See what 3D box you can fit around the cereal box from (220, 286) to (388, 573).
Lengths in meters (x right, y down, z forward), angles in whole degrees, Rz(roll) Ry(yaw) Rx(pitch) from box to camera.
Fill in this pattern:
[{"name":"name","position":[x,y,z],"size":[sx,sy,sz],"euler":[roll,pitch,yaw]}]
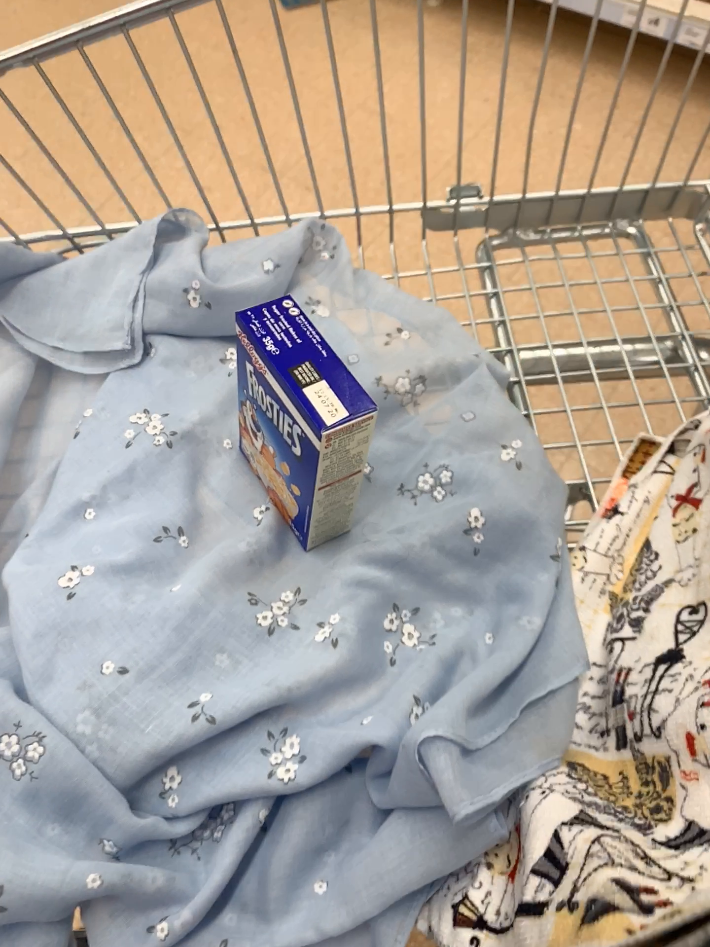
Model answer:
[{"name":"cereal box","position":[-0.033,-0.021,0.421],"size":[0.040,0.129,0.101],"euler":[-25,61,-21]}]
